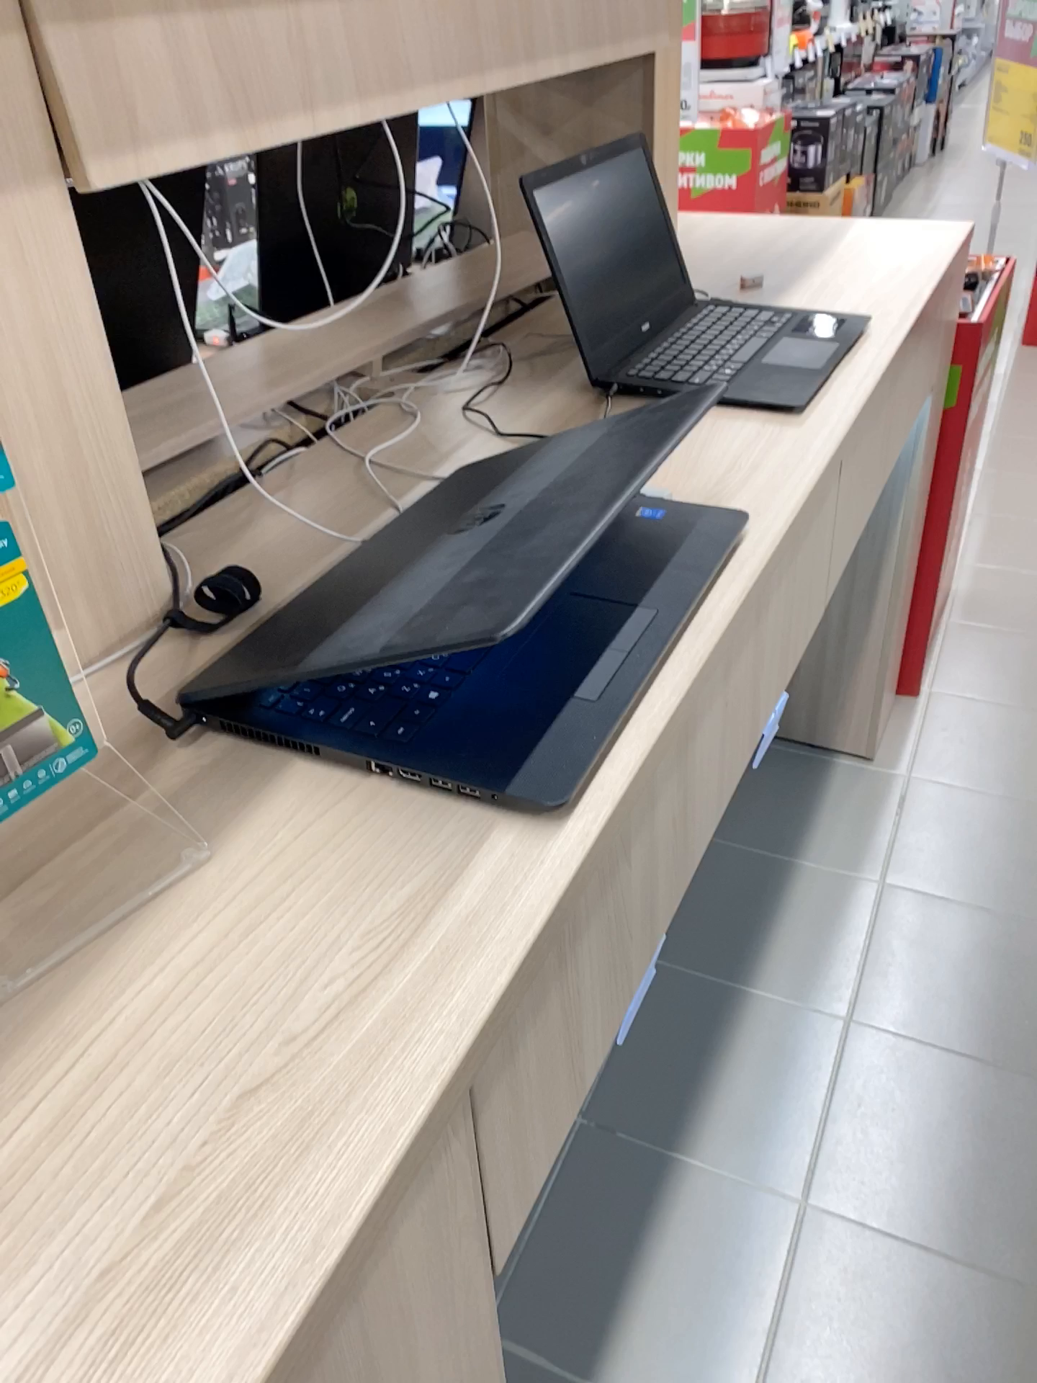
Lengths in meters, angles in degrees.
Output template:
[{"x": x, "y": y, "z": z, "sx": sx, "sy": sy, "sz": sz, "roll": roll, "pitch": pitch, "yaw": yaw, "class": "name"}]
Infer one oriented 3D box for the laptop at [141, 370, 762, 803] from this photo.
[{"x": -0.013, "y": -0.103, "z": 0.699, "sx": 0.251, "sy": 0.093, "sz": 0.374, "roll": 12, "pitch": 36, "yaw": 22, "class": "laptop"}]
